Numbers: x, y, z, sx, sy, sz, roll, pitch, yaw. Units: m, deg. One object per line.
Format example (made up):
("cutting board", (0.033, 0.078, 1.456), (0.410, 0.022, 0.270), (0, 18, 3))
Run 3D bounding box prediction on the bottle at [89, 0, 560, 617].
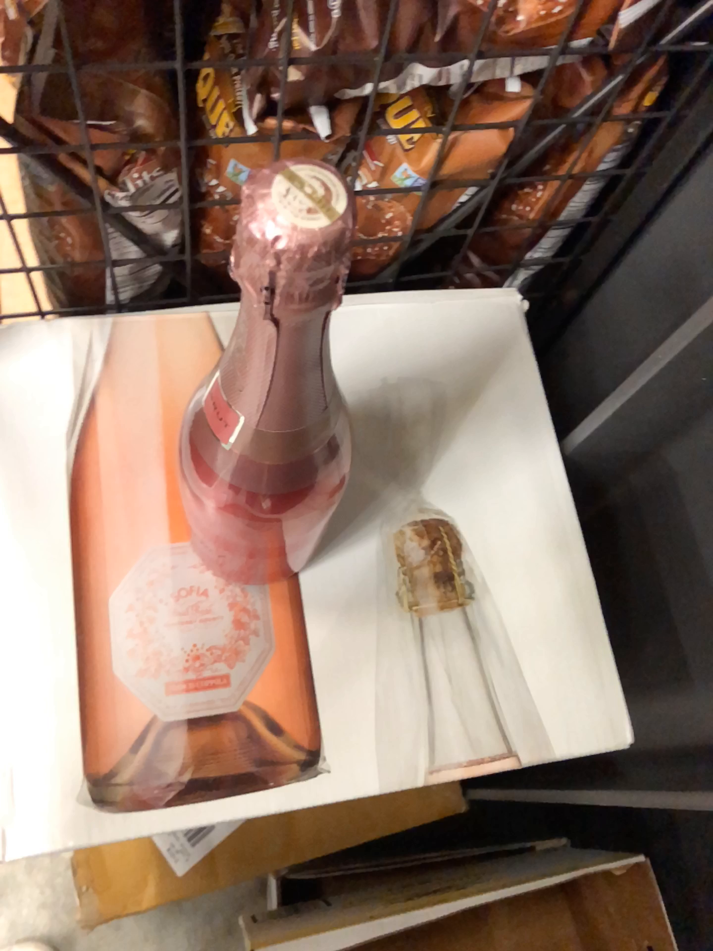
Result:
("bottle", (-0.034, -0.030, 0.347), (0.090, 0.310, 0.090), (4, 68, -9))
